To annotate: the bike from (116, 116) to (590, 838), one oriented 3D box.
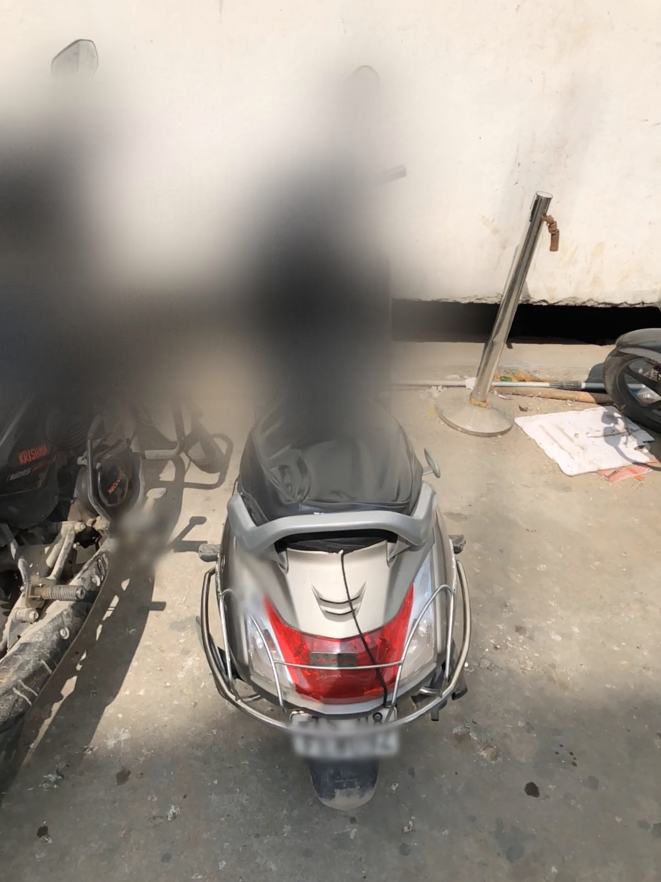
[{"bbox_3d":[-0.047,-0.059,1.847,0.616,1.107,1.508,4,34,-6],"label":"bike"}]
